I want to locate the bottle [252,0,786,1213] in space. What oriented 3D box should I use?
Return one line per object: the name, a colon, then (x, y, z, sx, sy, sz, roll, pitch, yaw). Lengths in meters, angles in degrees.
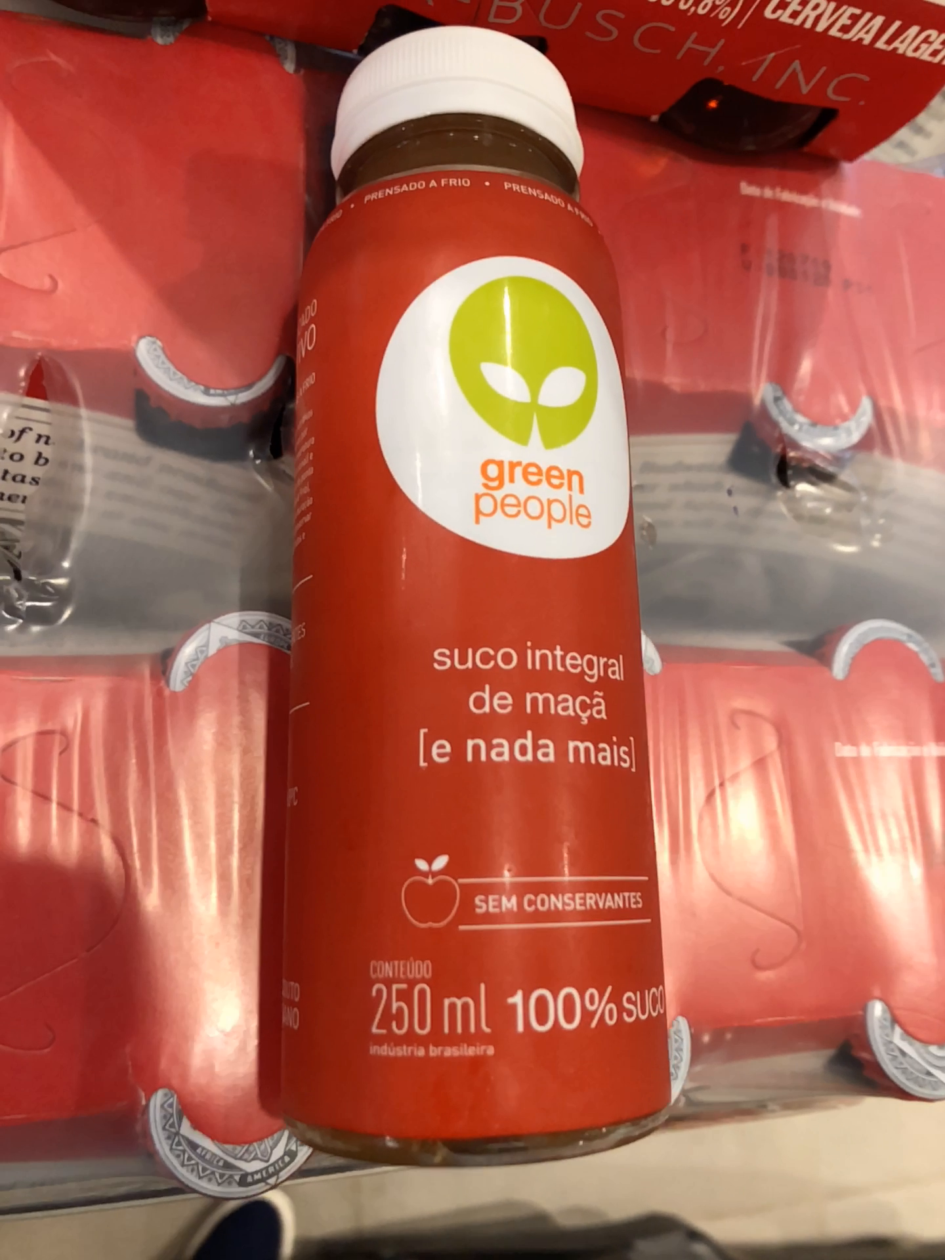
bottle: (0.002, -0.021, 0.158, 0.060, 0.040, 0.180, 3, 77, -16)
